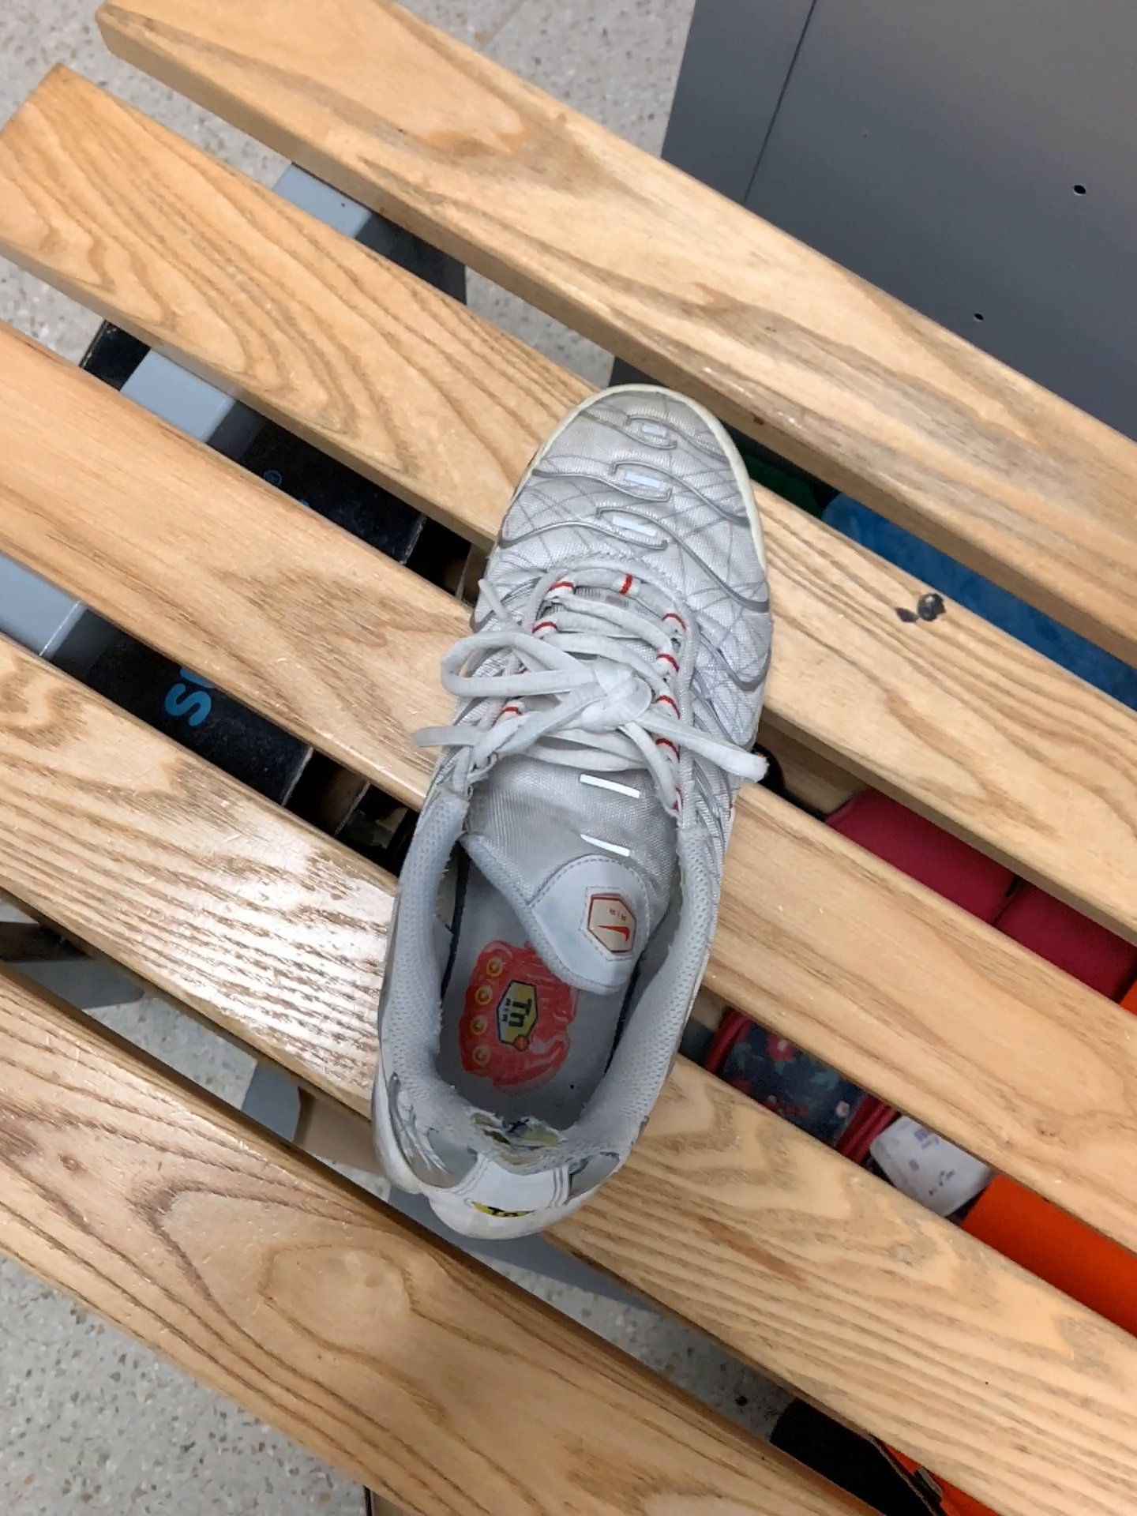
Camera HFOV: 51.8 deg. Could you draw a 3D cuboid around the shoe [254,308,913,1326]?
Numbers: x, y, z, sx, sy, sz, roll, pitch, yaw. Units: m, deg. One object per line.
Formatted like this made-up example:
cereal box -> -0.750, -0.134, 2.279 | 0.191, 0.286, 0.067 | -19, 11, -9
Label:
shoe -> 0.006, 0.014, 0.332 | 0.100, 0.105, 0.227 | 17, 79, -1
